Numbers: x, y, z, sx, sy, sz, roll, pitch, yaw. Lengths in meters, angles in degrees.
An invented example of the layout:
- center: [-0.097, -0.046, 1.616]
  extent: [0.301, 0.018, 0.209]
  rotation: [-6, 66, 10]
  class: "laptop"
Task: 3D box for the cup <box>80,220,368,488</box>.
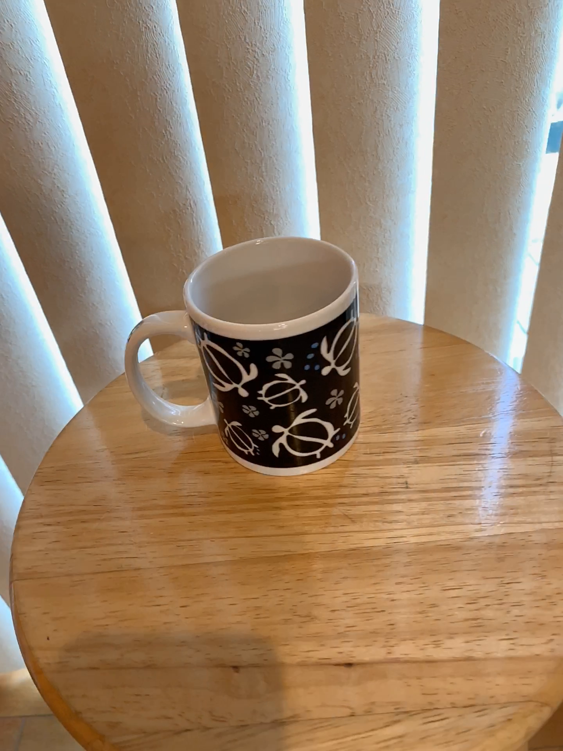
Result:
- center: [-0.019, -0.011, 0.308]
  extent: [0.120, 0.099, 0.090]
  rotation: [-4, 39, 6]
  class: "cup"
